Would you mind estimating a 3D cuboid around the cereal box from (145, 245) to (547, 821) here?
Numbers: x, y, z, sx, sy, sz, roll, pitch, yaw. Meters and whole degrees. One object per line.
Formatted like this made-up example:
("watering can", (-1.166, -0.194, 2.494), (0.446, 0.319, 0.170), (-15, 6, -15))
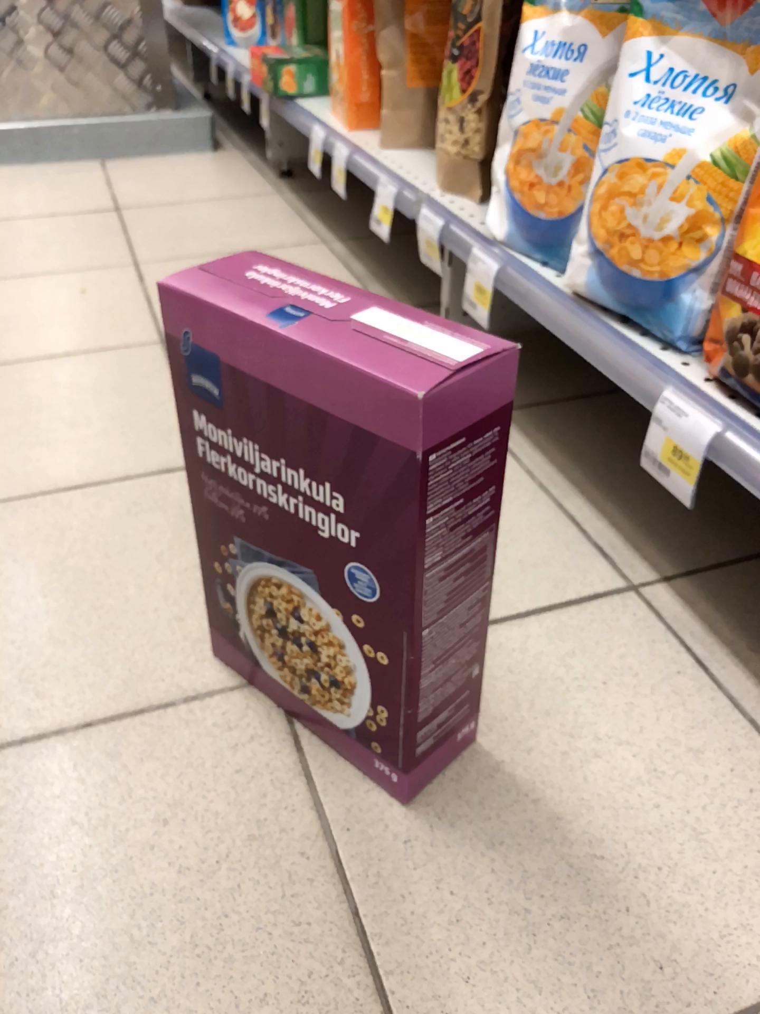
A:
("cereal box", (-0.028, 0.014, 0.511), (0.211, 0.278, 0.080), (29, 43, 34))
